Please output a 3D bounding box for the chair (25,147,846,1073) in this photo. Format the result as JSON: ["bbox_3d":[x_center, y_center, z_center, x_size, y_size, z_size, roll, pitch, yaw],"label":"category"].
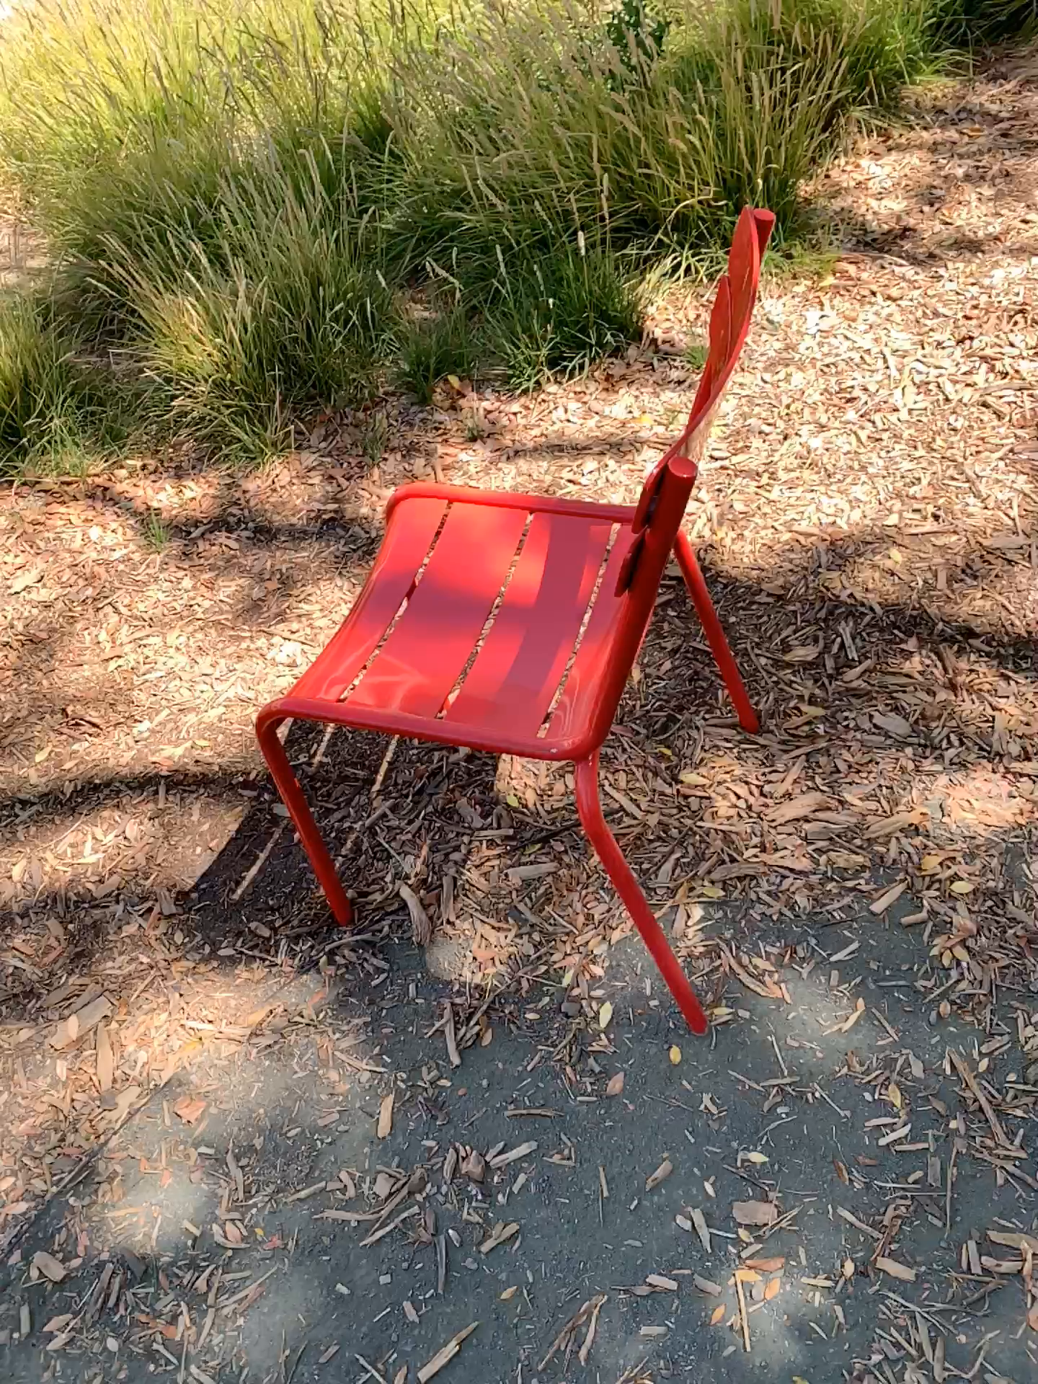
[{"bbox_3d":[-0.009,-0.088,1.234,0.571,0.785,0.613,11,47,12],"label":"chair"}]
